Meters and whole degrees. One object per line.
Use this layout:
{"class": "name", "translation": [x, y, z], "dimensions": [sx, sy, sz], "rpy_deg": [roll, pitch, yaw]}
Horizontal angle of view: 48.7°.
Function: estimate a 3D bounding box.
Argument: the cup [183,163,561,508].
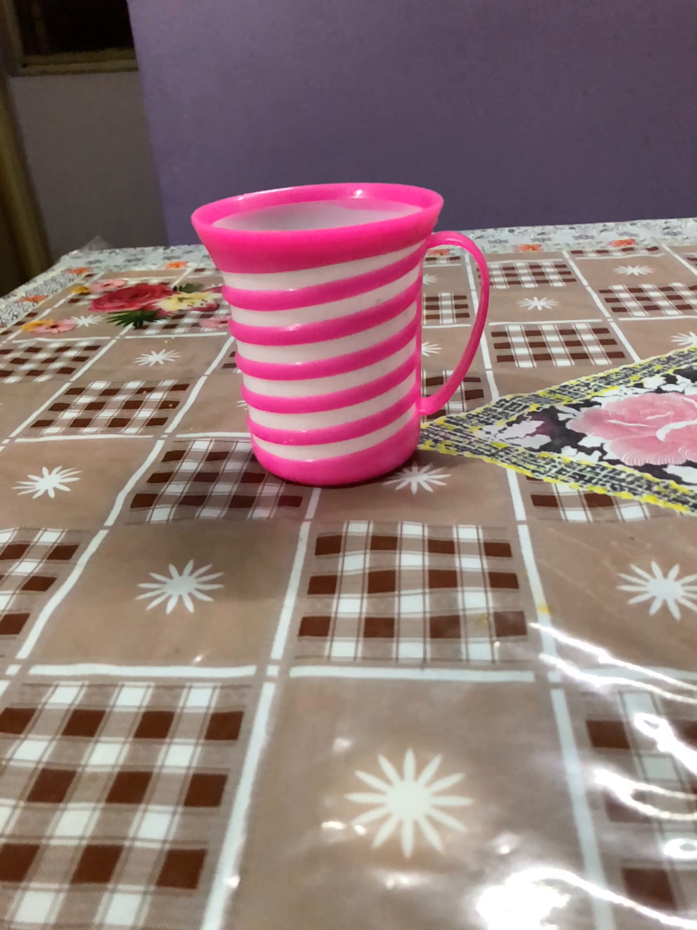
{"class": "cup", "translation": [0.005, -0.051, 0.277], "dimensions": [0.110, 0.089, 0.080], "rpy_deg": [-8, 29, -6]}
